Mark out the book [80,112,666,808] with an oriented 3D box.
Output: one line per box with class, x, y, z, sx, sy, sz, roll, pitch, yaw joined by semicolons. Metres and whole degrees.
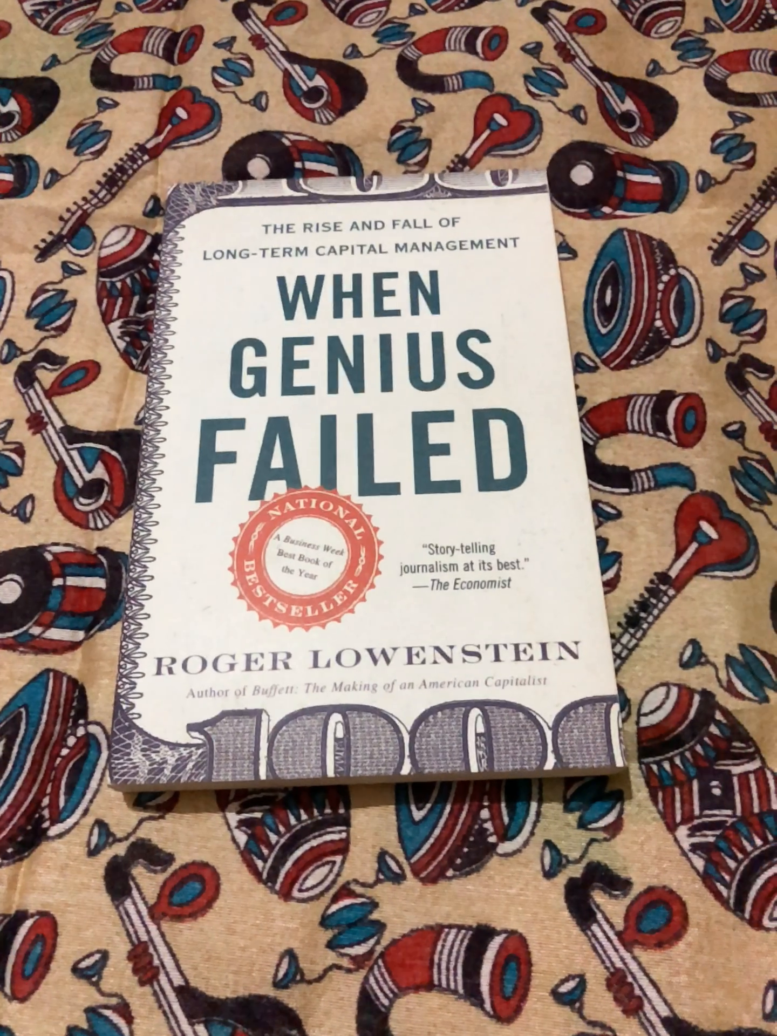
book;-0.007;-0.030;0.266;0.140;0.030;0.220;-1;66;-1
